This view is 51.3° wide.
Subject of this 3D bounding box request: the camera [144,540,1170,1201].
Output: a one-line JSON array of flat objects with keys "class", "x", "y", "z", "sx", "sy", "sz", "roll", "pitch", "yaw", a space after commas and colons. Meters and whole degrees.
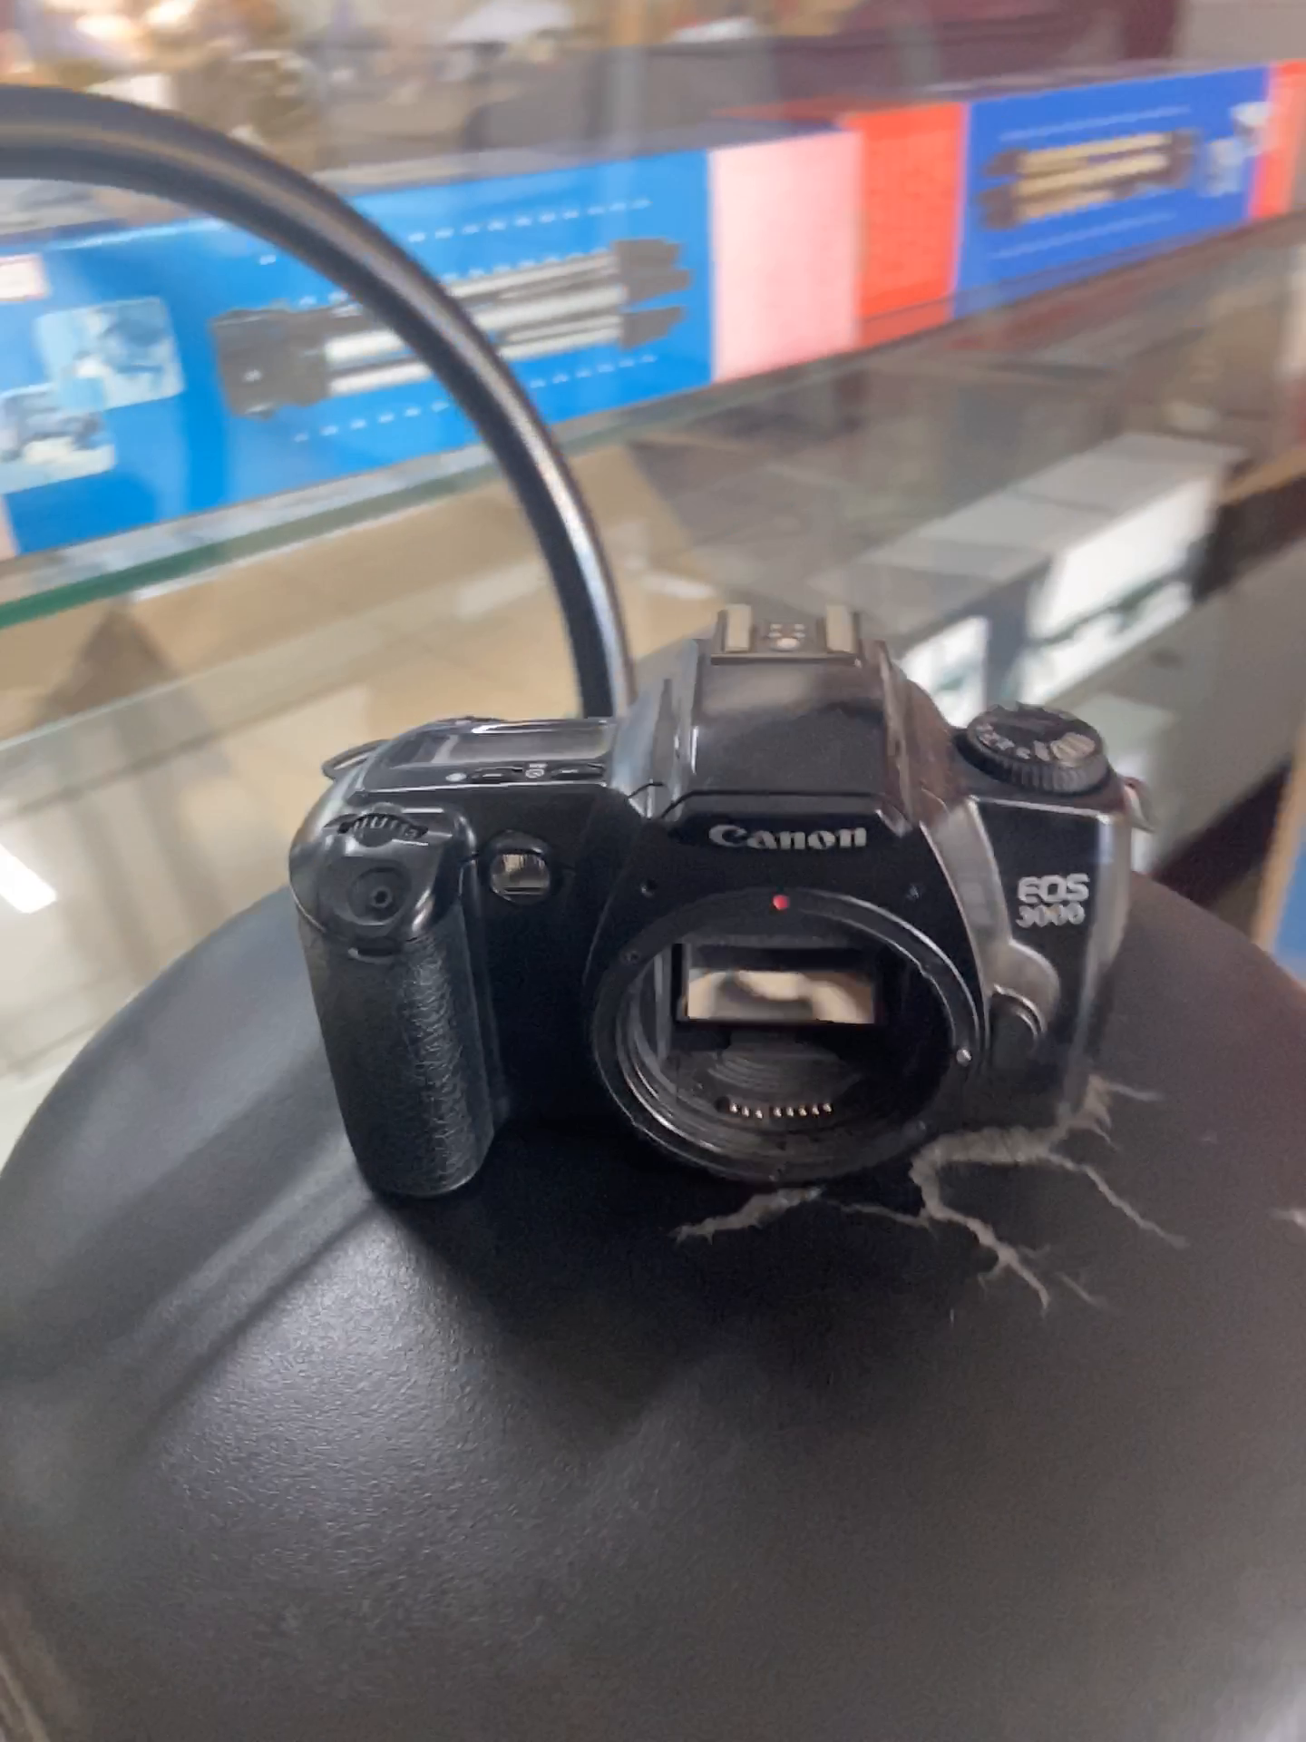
[{"class": "camera", "x": 0.003, "y": -0.001, "z": 0.239, "sx": 0.140, "sy": 0.089, "sz": 0.070, "roll": -1, "pitch": 33, "yaw": 4}]
